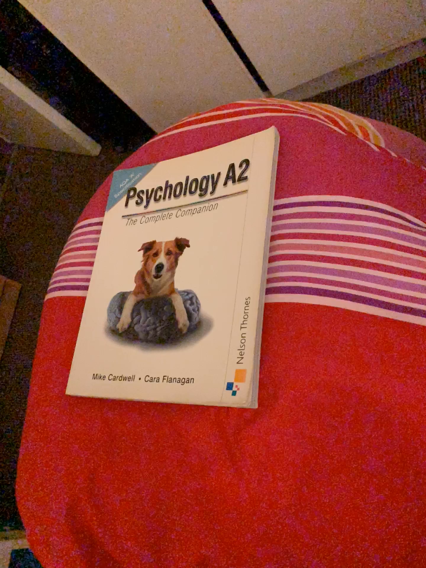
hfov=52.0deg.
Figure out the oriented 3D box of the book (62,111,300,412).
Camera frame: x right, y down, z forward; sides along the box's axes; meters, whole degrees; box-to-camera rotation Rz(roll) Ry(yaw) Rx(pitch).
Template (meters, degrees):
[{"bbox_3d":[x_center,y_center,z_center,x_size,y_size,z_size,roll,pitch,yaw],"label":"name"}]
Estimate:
[{"bbox_3d":[-0.034,-0.022,0.472,0.241,0.040,0.291,-7,65,33],"label":"book"}]
